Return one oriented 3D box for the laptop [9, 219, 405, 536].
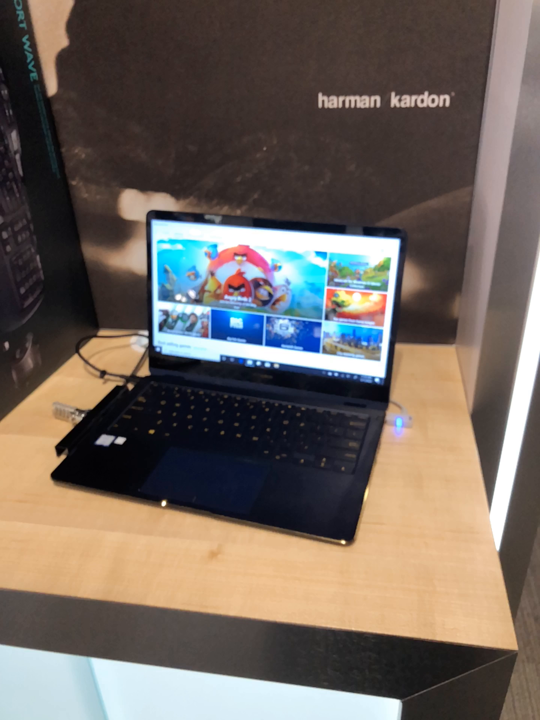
[{"bbox_3d":[-0.035,-0.008,0.608,0.291,0.190,0.249,7,30,16],"label":"laptop"}]
